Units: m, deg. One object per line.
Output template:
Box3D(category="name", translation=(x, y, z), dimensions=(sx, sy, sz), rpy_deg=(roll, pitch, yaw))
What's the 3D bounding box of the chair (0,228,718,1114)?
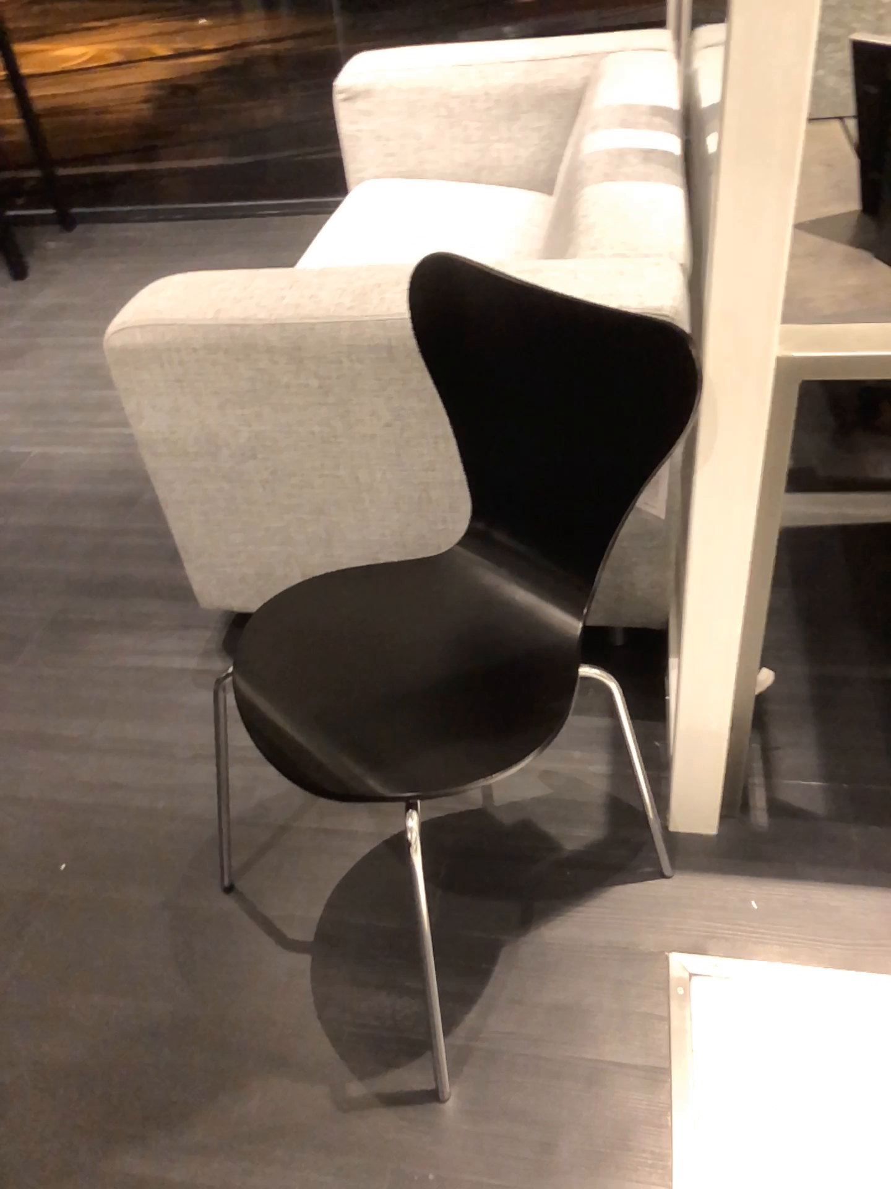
Box3D(category="chair", translation=(-0.055, 0.087, 1.179), dimensions=(0.492, 0.804, 0.502), rpy_deg=(29, 52, 36))
